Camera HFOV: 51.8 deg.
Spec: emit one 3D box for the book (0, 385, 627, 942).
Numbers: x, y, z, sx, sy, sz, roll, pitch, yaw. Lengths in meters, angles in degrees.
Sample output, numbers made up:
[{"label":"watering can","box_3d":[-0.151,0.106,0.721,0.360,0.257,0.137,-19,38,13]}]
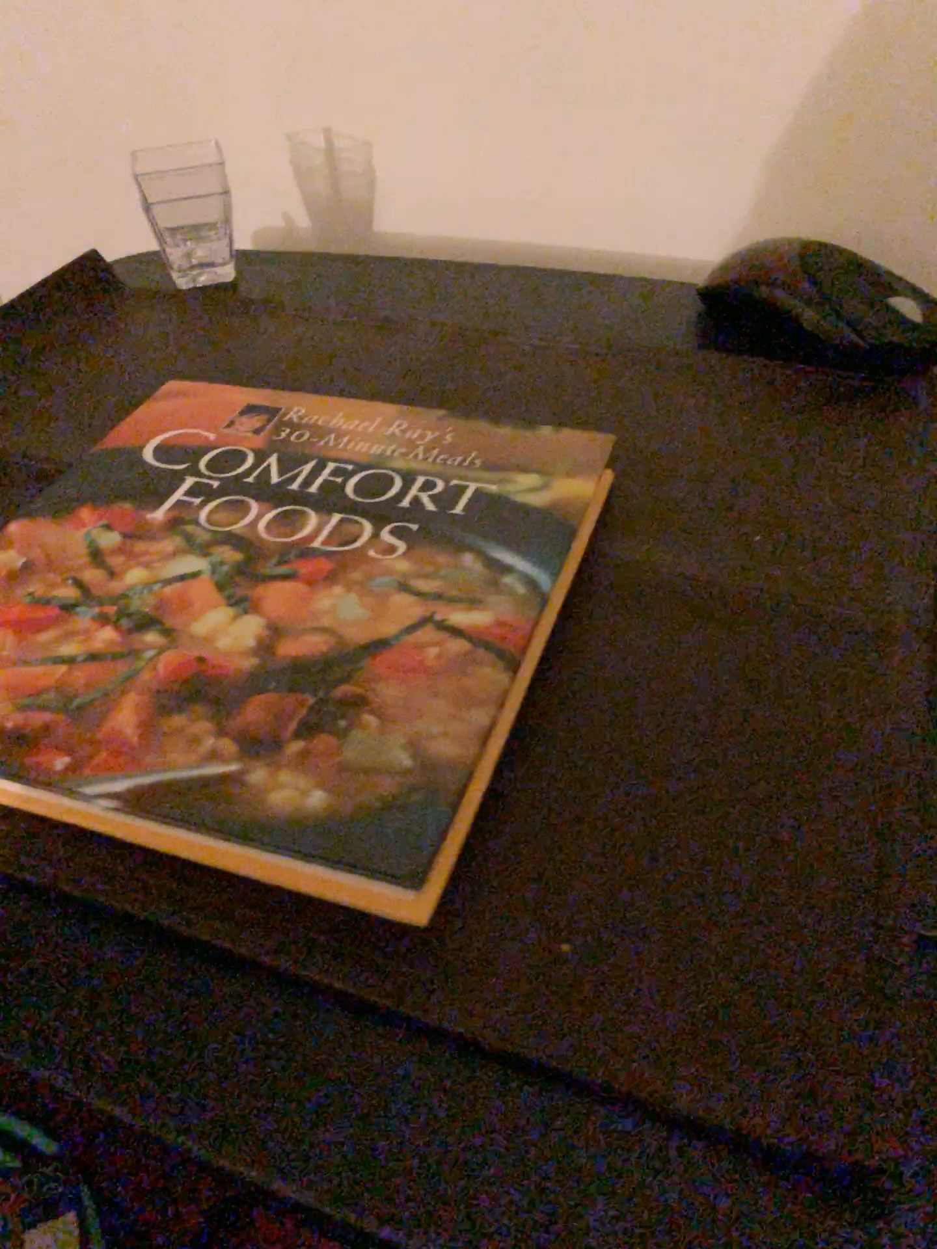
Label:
[{"label":"book","box_3d":[-0.068,-0.014,0.319,0.200,0.020,0.201,10,43,17]}]
